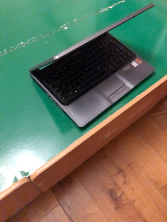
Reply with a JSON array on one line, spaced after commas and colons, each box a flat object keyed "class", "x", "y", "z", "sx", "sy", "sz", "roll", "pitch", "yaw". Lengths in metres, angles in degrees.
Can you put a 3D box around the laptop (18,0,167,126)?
[{"class": "laptop", "x": 0.041, "y": -0.167, "z": 0.508, "sx": 0.316, "sy": 0.171, "sz": 0.227, "roll": -36, "pitch": 69, "yaw": -23}]
